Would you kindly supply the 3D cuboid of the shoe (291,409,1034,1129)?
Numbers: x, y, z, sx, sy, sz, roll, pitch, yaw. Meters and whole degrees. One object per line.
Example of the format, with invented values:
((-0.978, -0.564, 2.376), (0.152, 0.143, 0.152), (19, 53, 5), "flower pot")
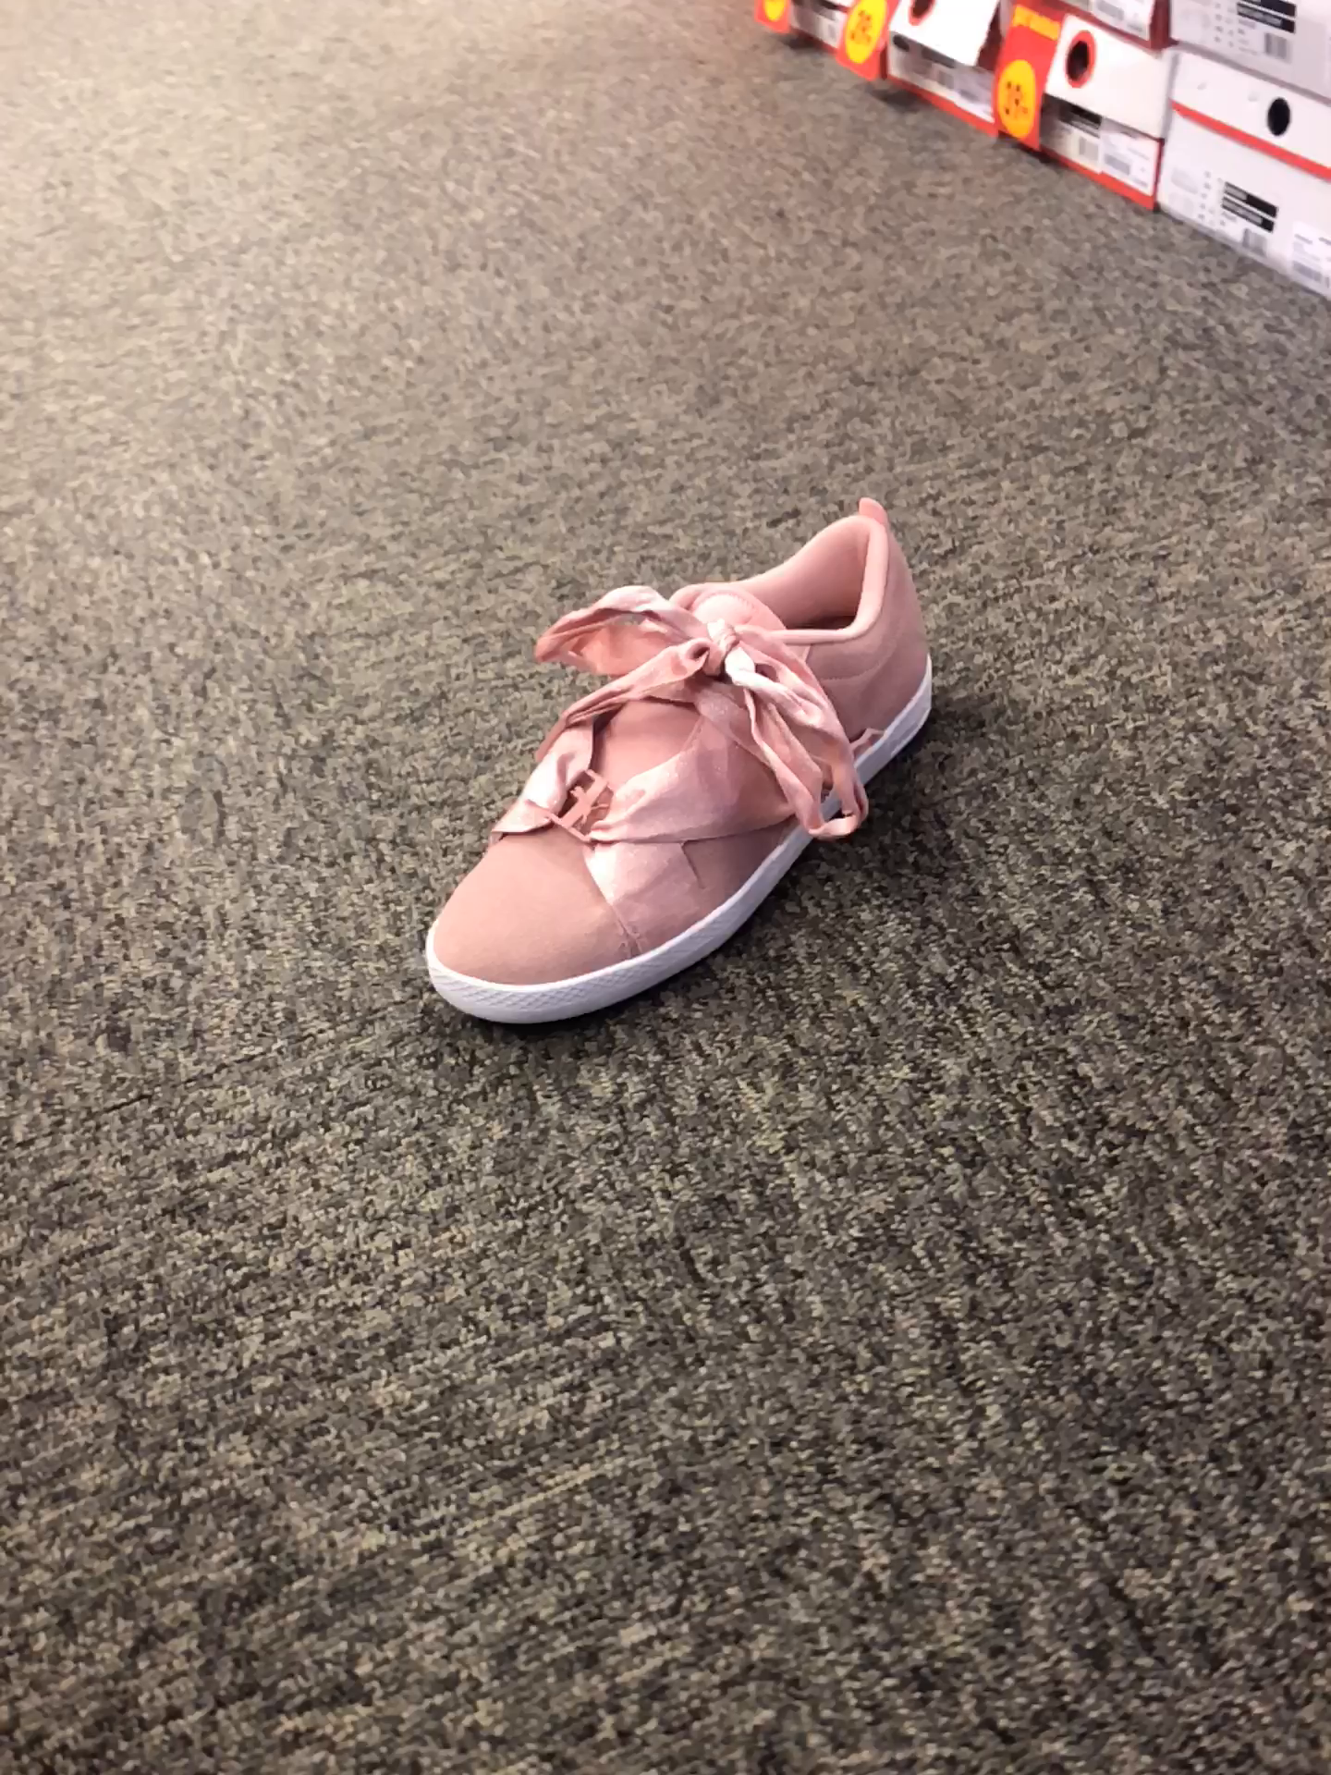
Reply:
((0.012, -0.053, 0.543), (0.263, 0.100, 0.100), (-41, 52, -19), "shoe")
